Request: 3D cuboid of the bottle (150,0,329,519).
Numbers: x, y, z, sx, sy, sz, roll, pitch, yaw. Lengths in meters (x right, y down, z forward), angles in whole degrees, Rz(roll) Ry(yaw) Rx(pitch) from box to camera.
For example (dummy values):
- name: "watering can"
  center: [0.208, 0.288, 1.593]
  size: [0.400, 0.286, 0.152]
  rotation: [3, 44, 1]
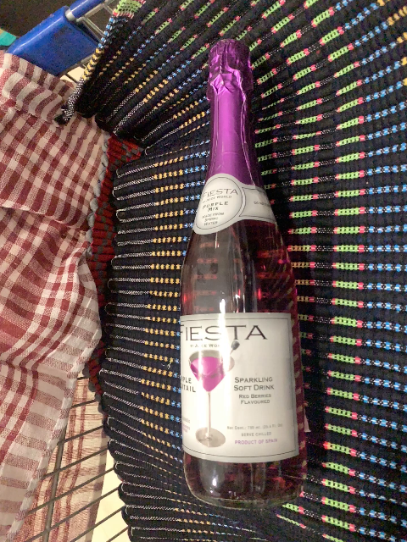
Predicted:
- name: "bottle"
  center: [0.024, -0.029, 0.293]
  size: [0.080, 0.080, 0.330]
  rotation: [-9, 76, 42]
